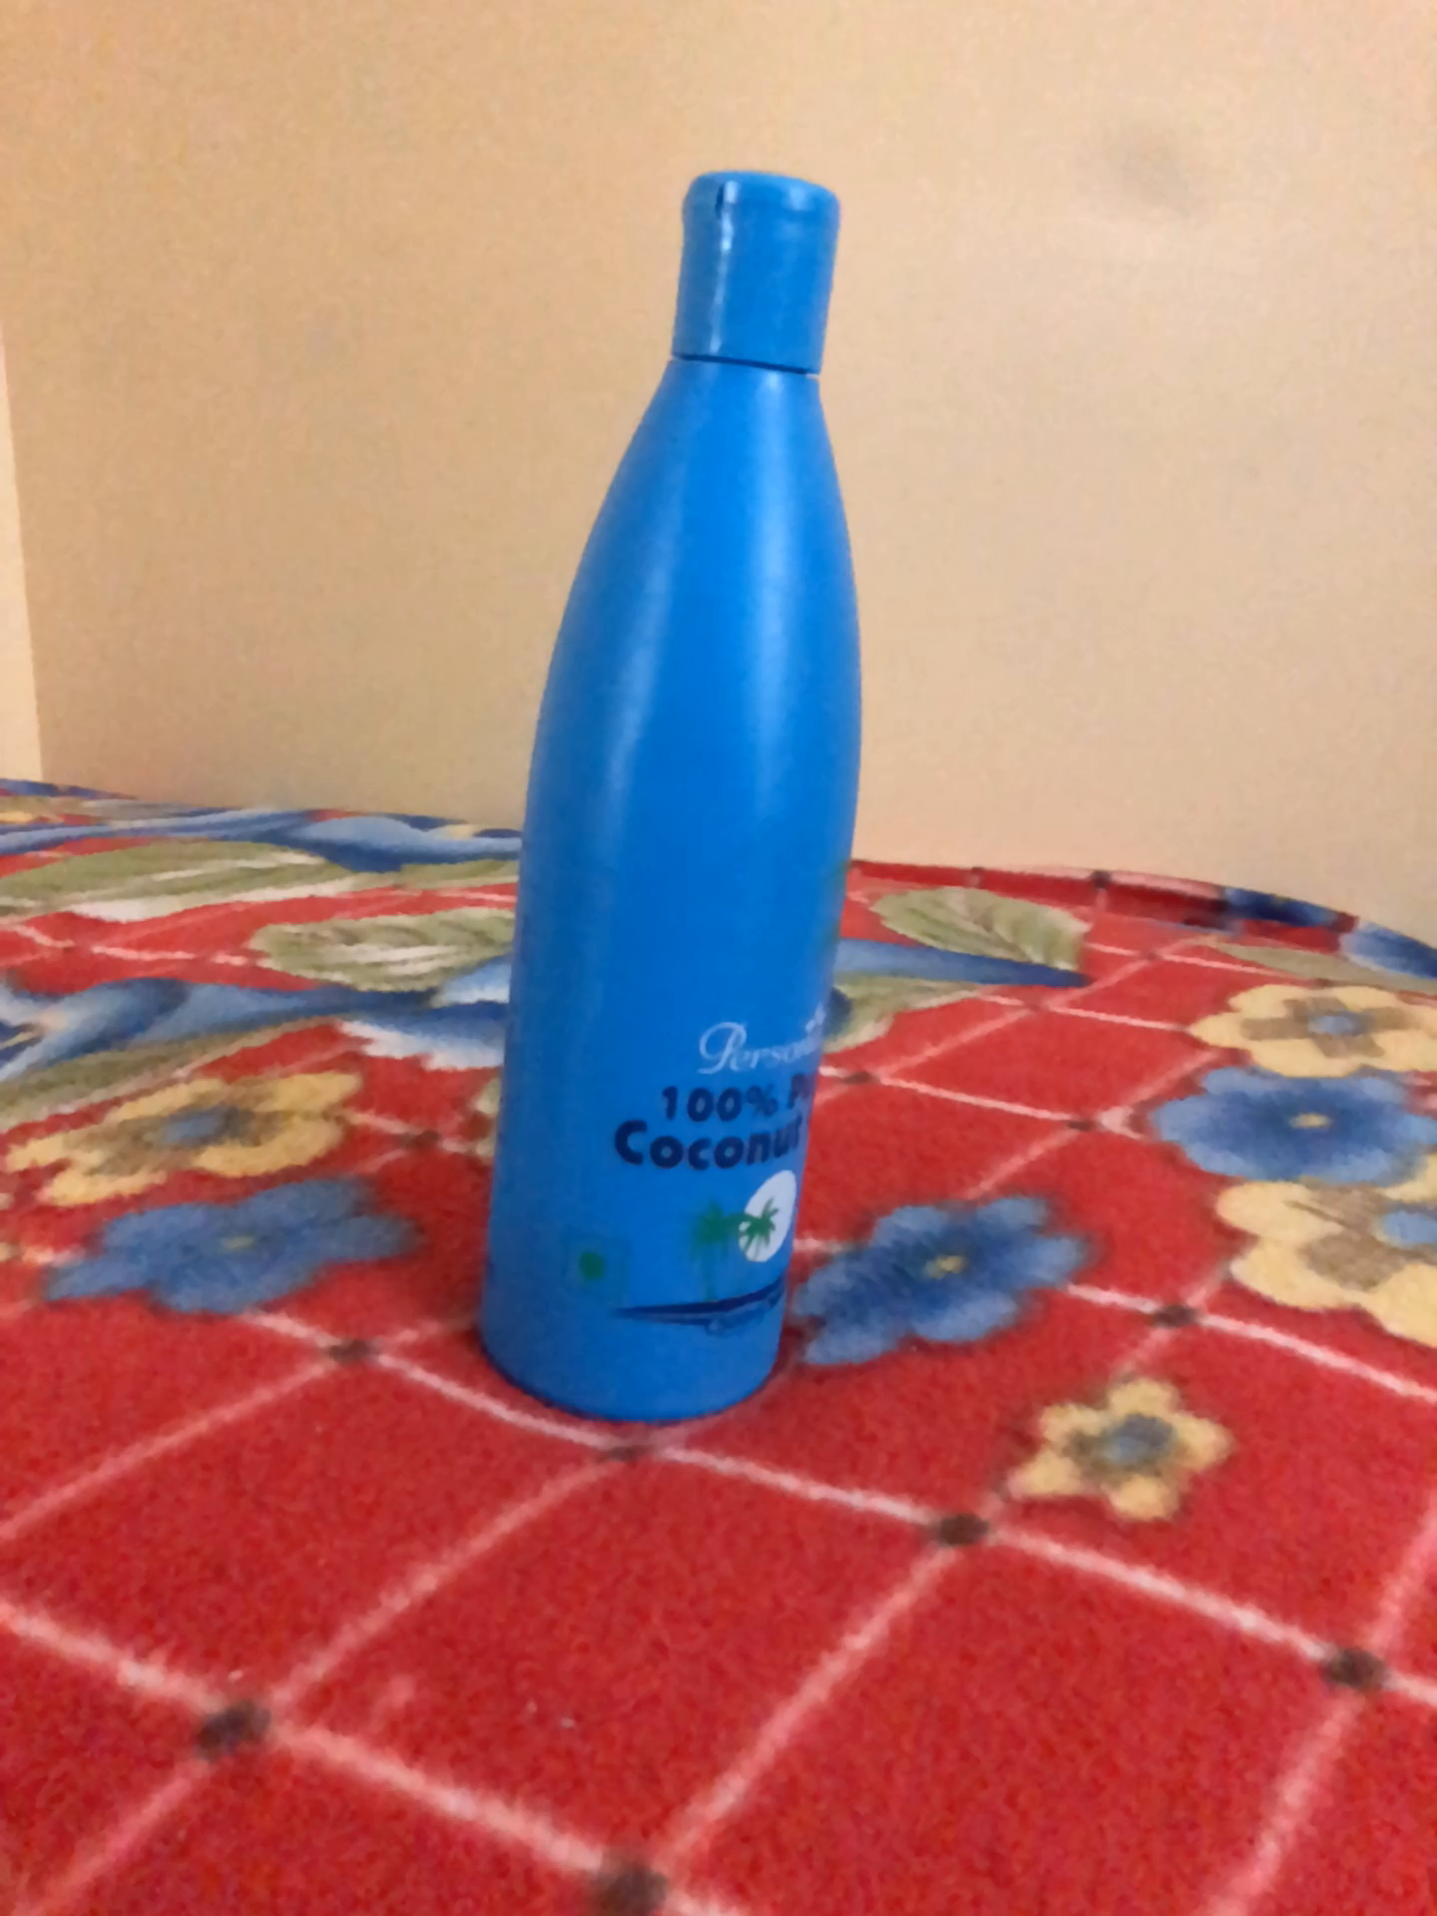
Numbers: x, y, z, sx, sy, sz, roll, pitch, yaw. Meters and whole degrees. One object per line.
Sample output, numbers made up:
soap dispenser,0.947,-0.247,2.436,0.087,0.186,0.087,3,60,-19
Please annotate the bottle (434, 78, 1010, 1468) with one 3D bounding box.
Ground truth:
bottle,-0.004,-0.031,0.309,0.070,0.230,0.070,3,15,-1
